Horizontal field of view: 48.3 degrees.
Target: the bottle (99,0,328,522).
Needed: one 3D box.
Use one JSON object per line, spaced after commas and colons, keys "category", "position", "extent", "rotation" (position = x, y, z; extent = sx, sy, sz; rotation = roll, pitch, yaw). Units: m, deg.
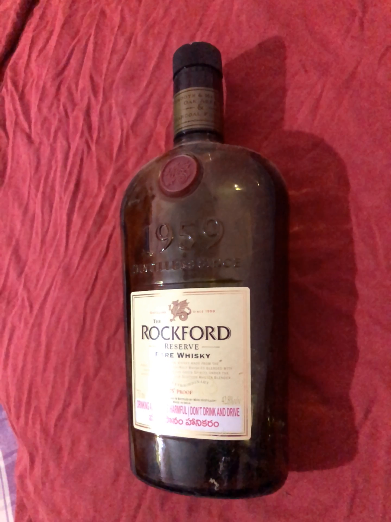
{"category": "bottle", "position": [0.007, -0.010, 0.236], "extent": [0.100, 0.060, 0.250], "rotation": [-5, 82, 26]}
